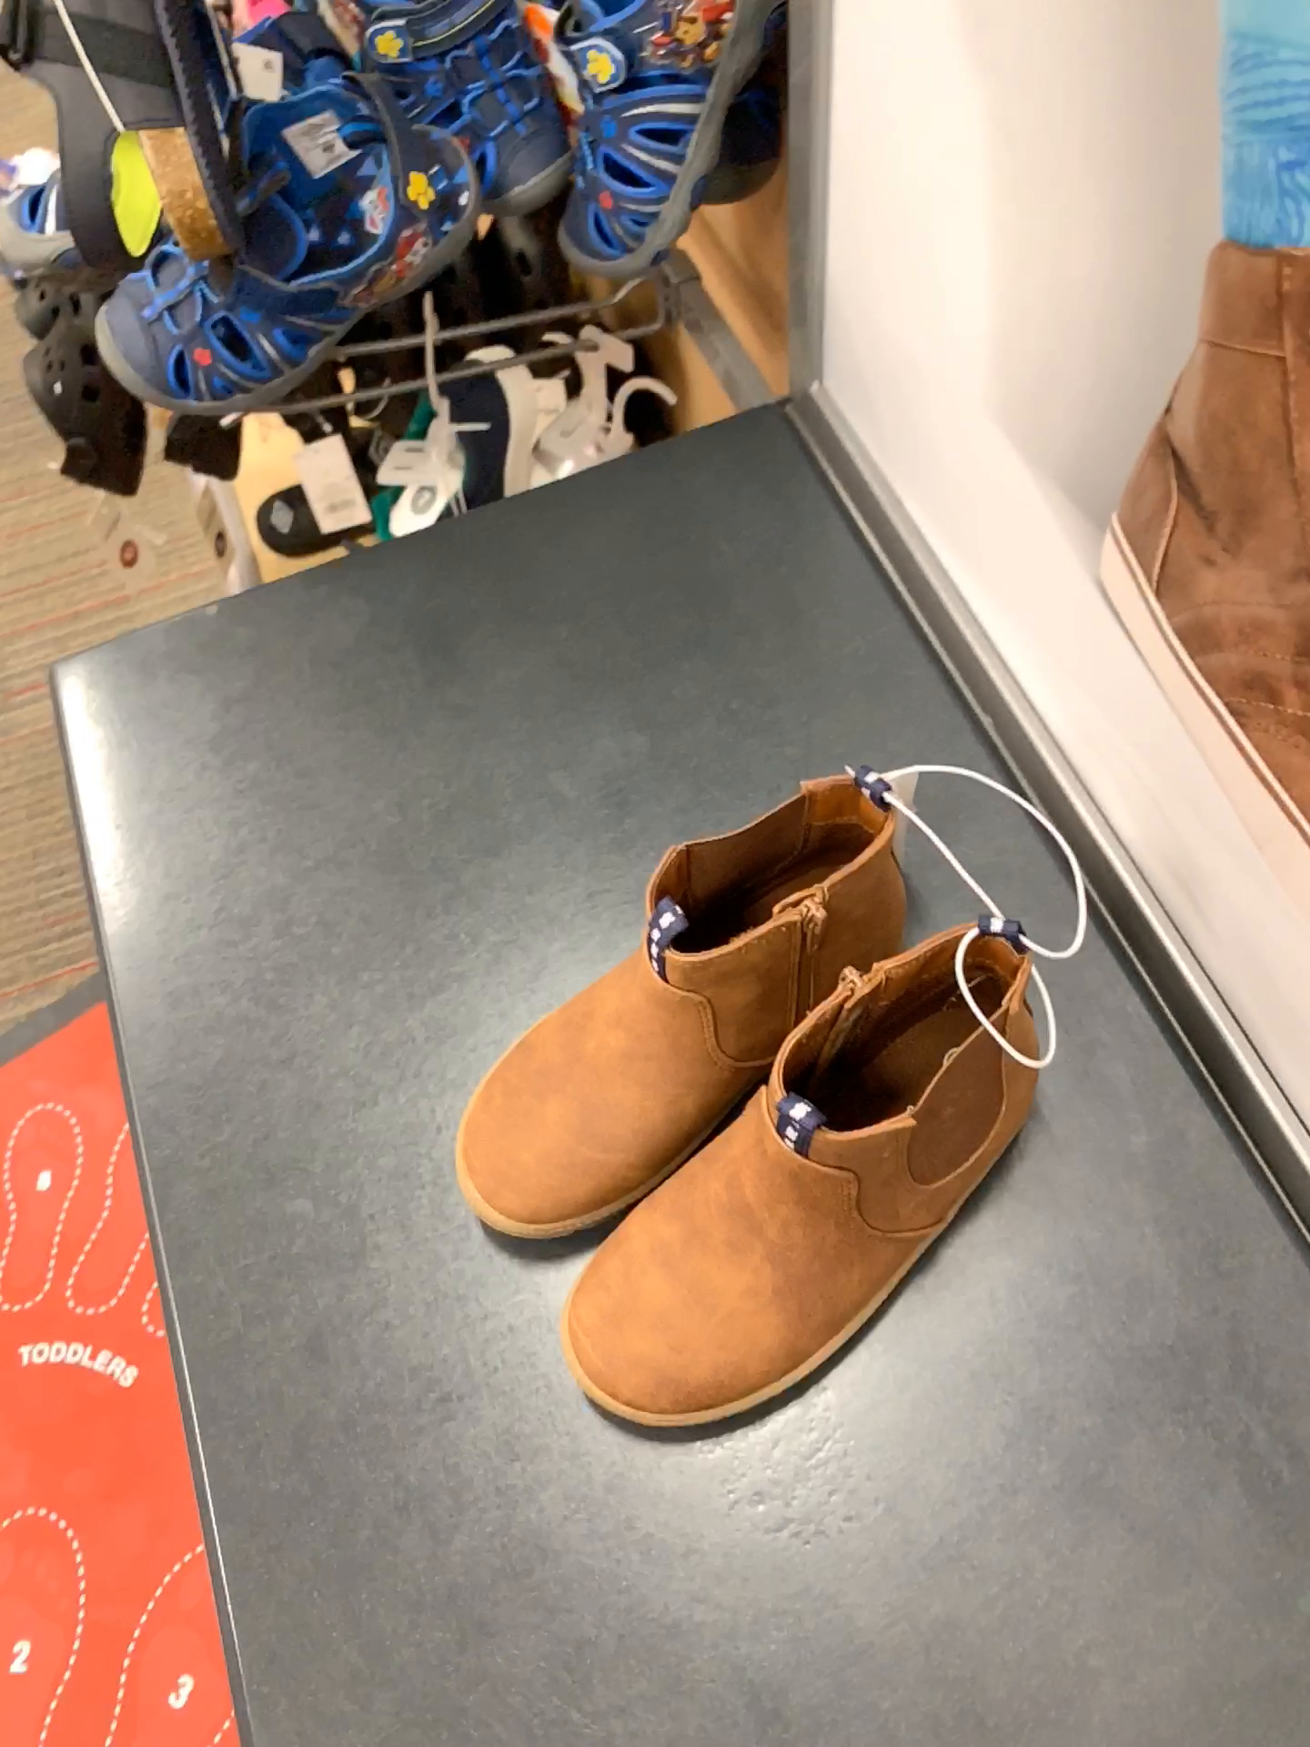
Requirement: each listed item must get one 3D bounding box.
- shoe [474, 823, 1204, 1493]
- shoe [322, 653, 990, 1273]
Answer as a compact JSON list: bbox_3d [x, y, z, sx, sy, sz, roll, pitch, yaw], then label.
[{"bbox_3d":[0.056,0.089,0.420,0.190,0.100,0.086,-33,63,-13],"label":"shoe"},{"bbox_3d":[0.005,0.031,0.456,0.190,0.100,0.086,-33,63,-13],"label":"shoe"}]
